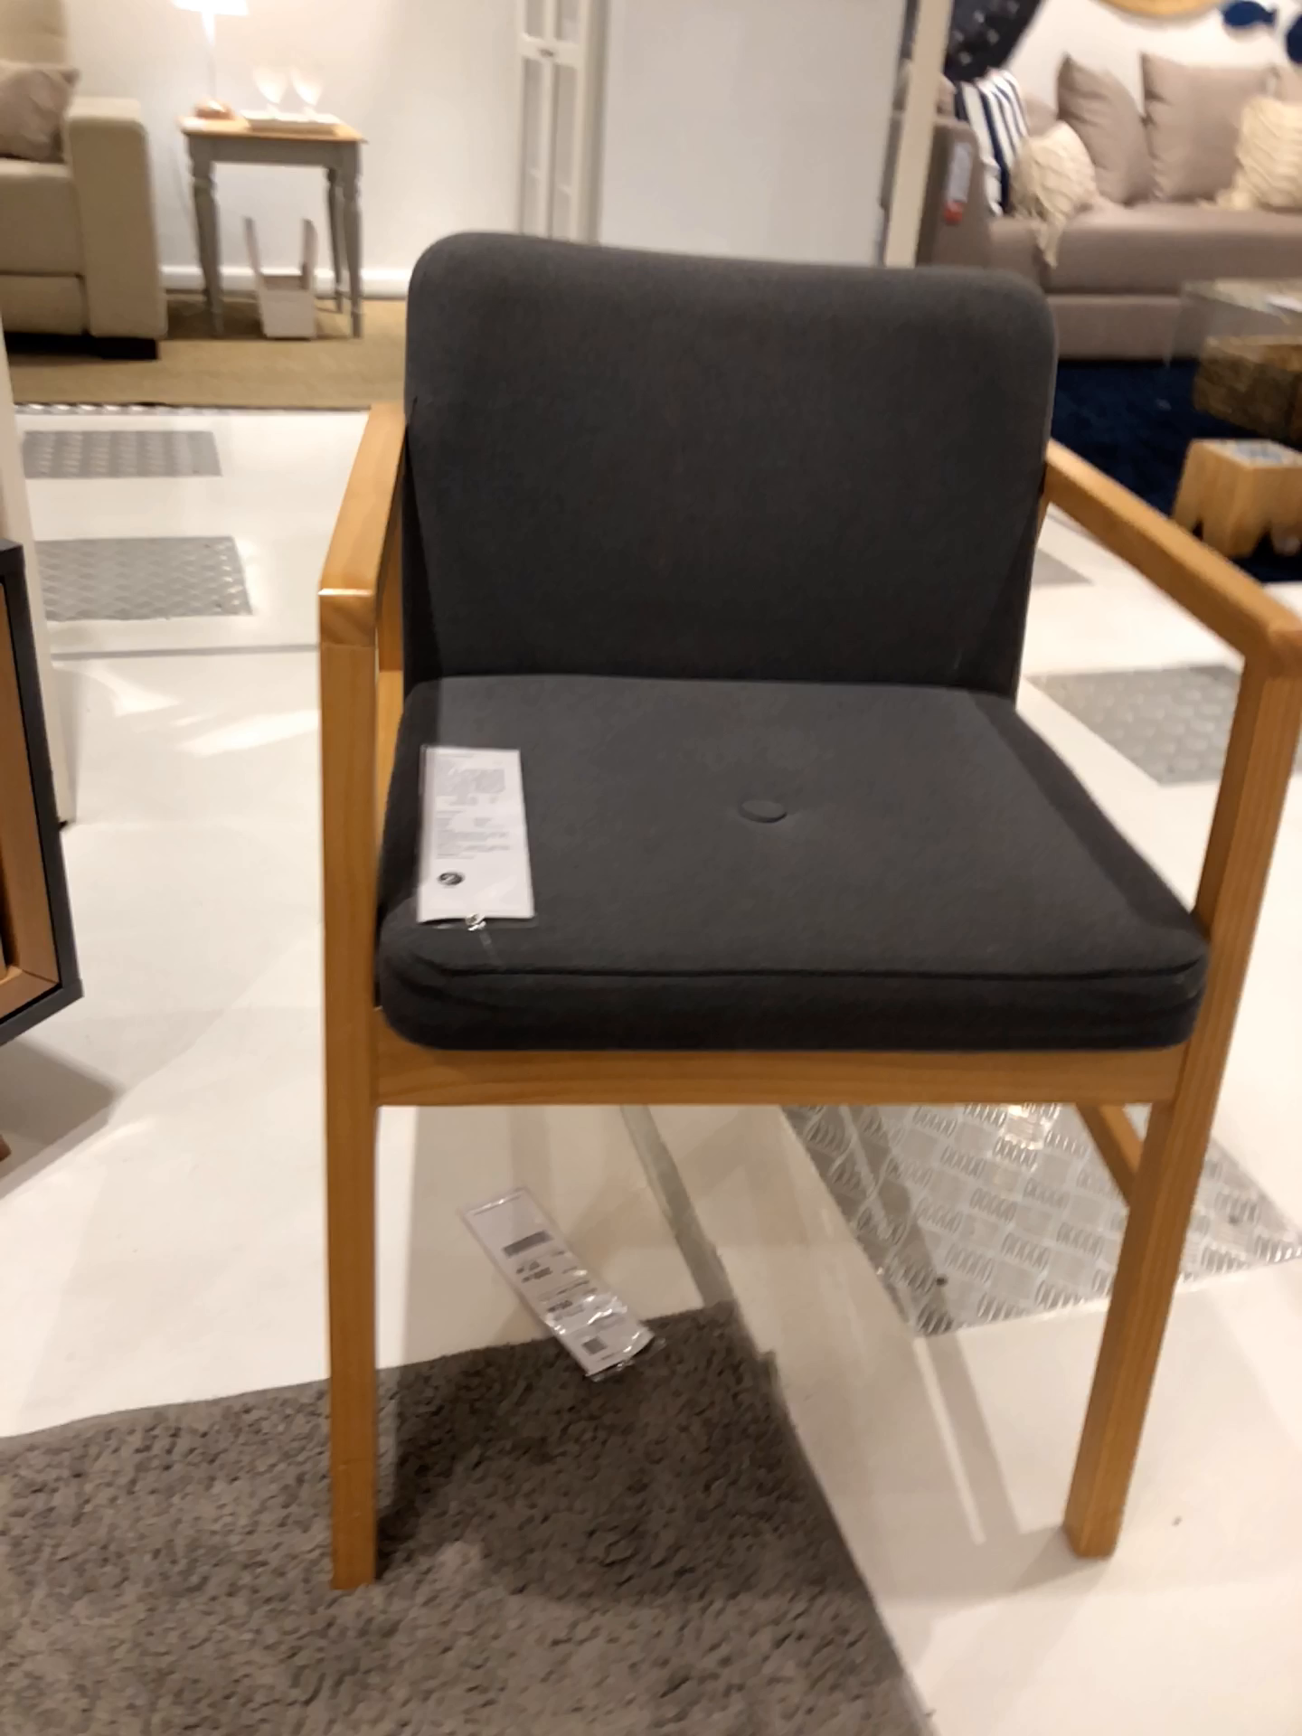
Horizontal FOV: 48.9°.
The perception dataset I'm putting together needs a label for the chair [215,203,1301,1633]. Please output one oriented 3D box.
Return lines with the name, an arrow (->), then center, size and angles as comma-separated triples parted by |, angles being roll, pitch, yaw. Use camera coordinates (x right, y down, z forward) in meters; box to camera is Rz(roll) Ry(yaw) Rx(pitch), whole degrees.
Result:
chair -> 0.051, -0.025, 1.043 | 0.560, 0.734, 0.705 | 0, 30, -8
